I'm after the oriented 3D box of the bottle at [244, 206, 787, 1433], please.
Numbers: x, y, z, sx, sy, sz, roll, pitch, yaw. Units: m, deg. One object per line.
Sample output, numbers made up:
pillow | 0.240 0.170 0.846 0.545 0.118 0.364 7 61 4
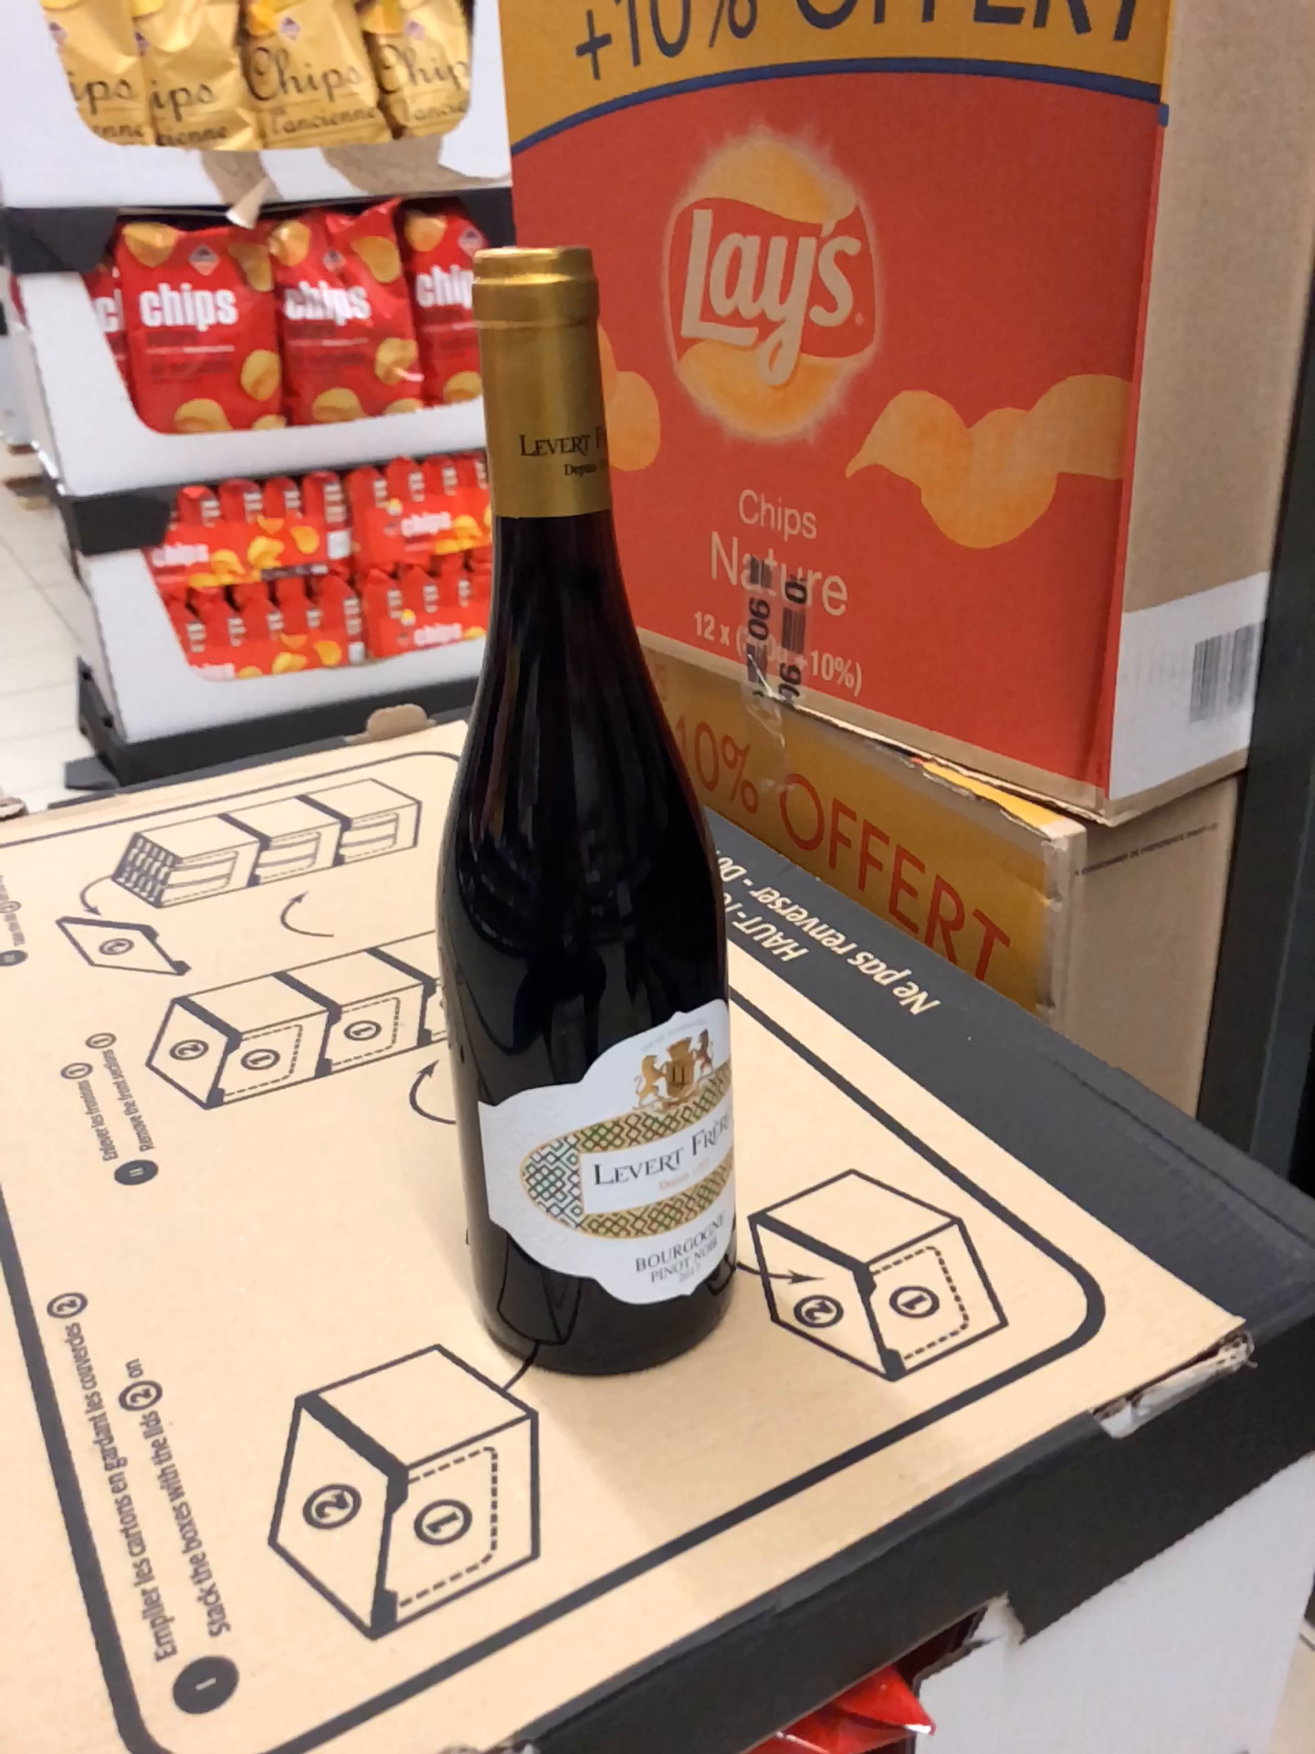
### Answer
bottle | -0.027 -0.009 0.380 0.090 0.298 0.080 -18 30 -28
